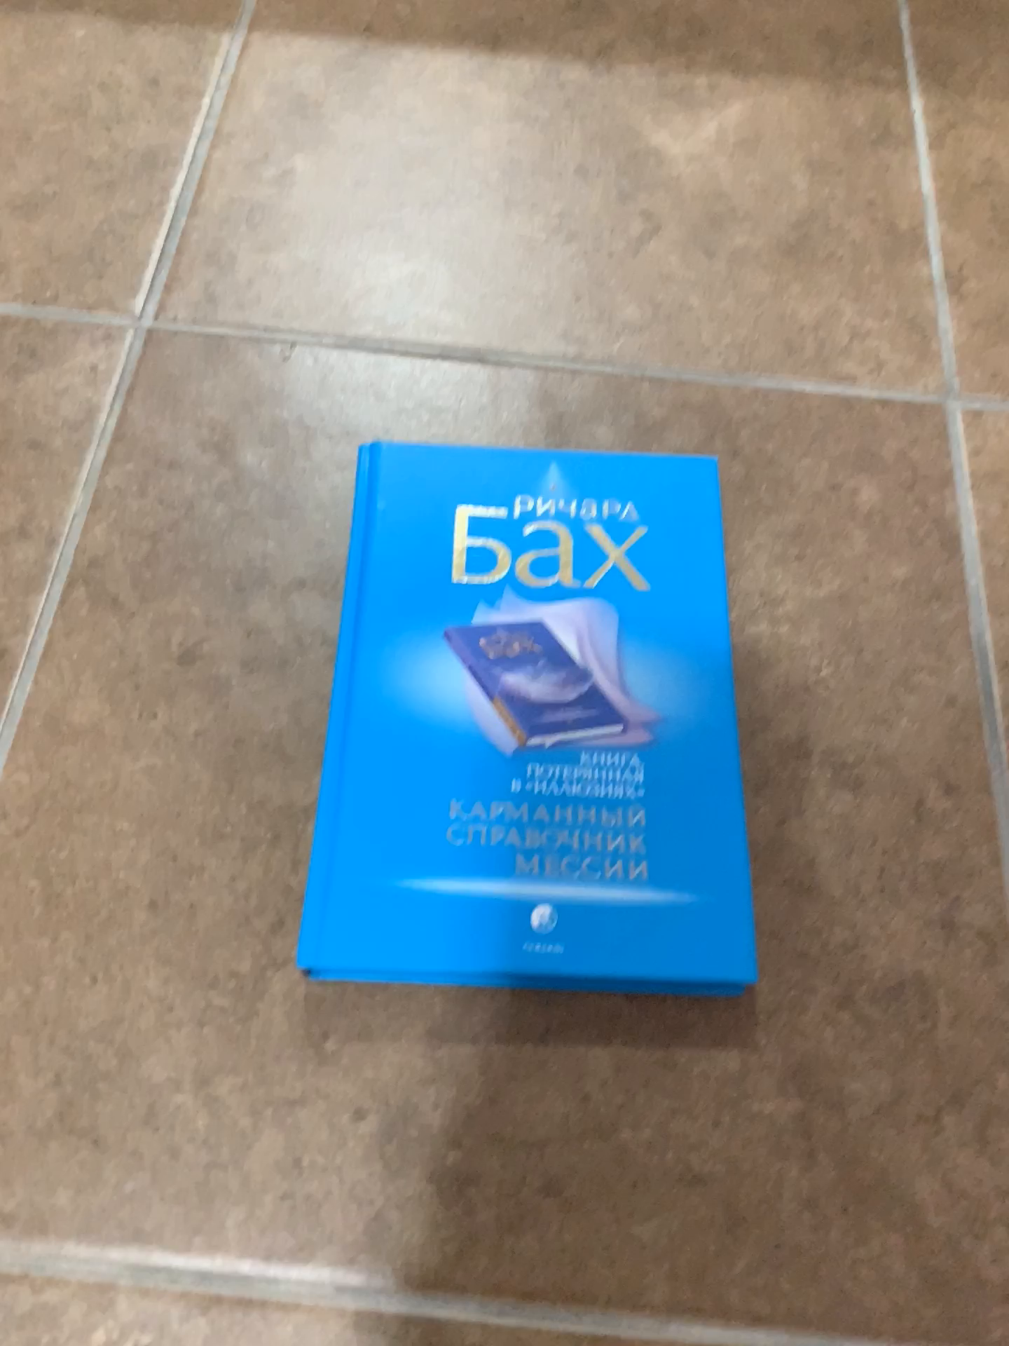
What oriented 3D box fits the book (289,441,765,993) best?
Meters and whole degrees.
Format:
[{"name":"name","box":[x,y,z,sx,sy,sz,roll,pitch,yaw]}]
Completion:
[{"name":"book","box":[0.009,0.005,0.308,0.122,0.015,0.169,2,63,-1]}]
